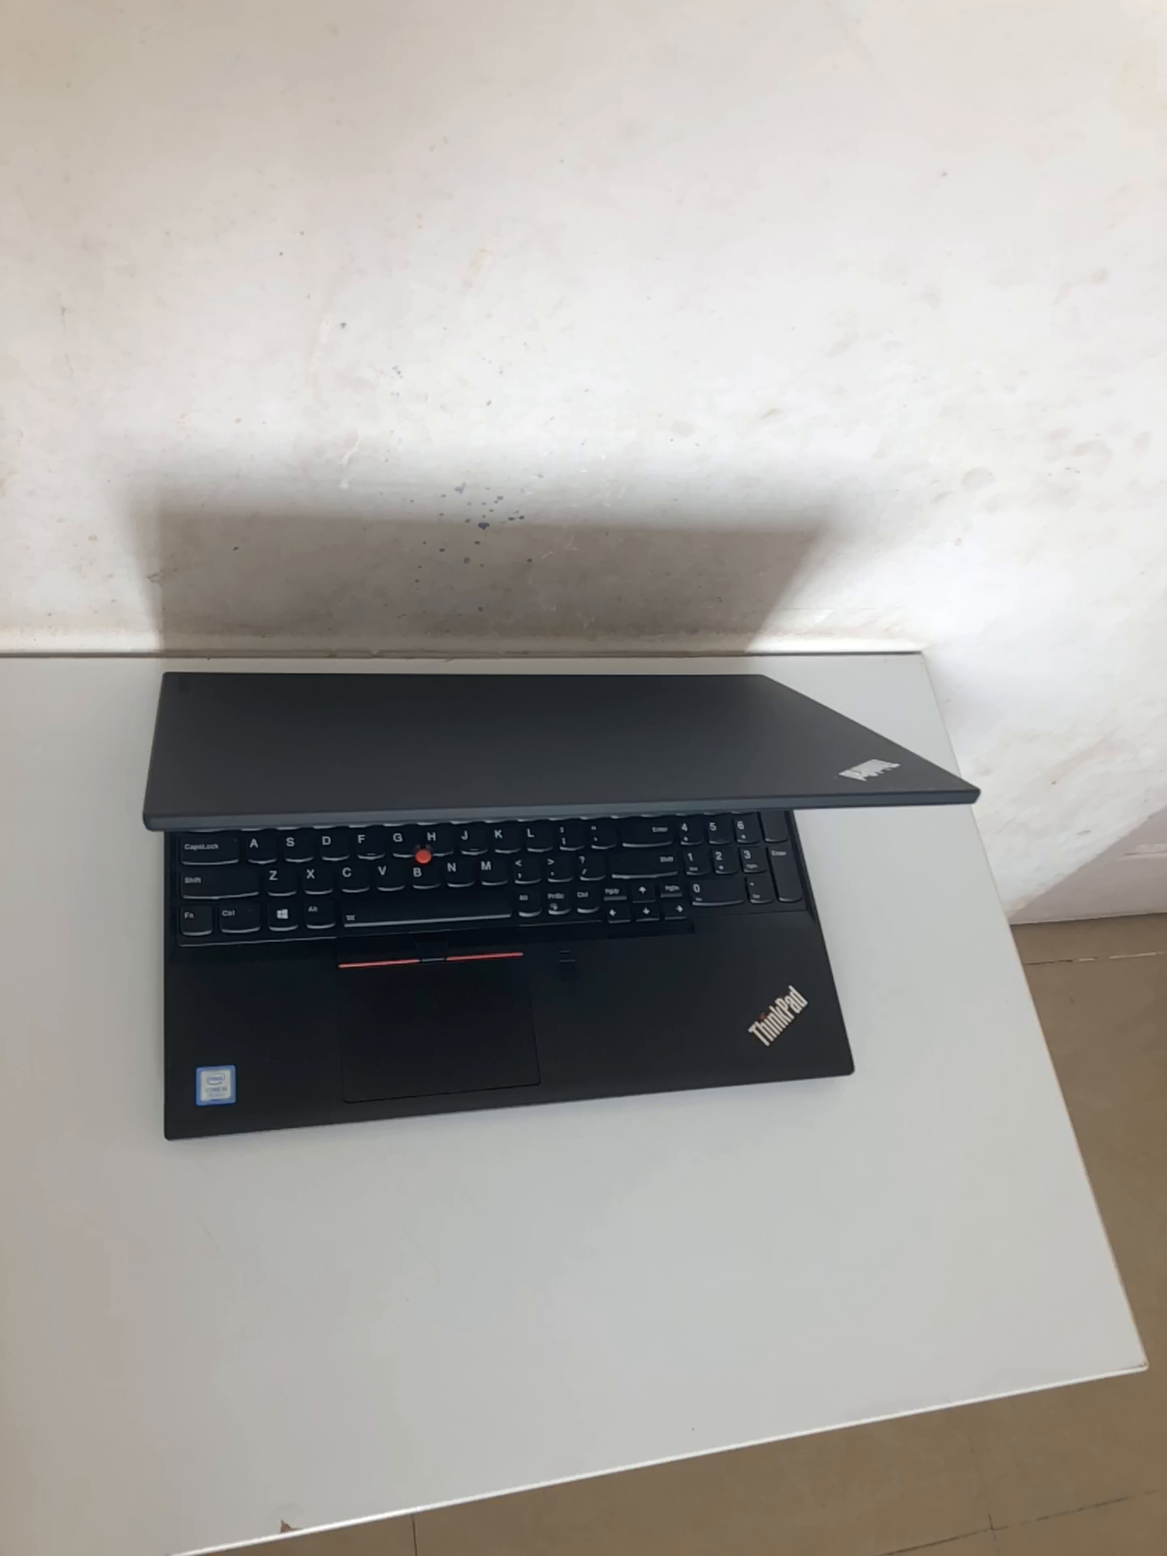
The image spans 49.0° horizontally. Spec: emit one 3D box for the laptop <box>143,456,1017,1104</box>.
[{"bbox_3d":[-0.023,0.006,0.616,0.347,0.173,0.234,-1,64,-15],"label":"laptop"}]
